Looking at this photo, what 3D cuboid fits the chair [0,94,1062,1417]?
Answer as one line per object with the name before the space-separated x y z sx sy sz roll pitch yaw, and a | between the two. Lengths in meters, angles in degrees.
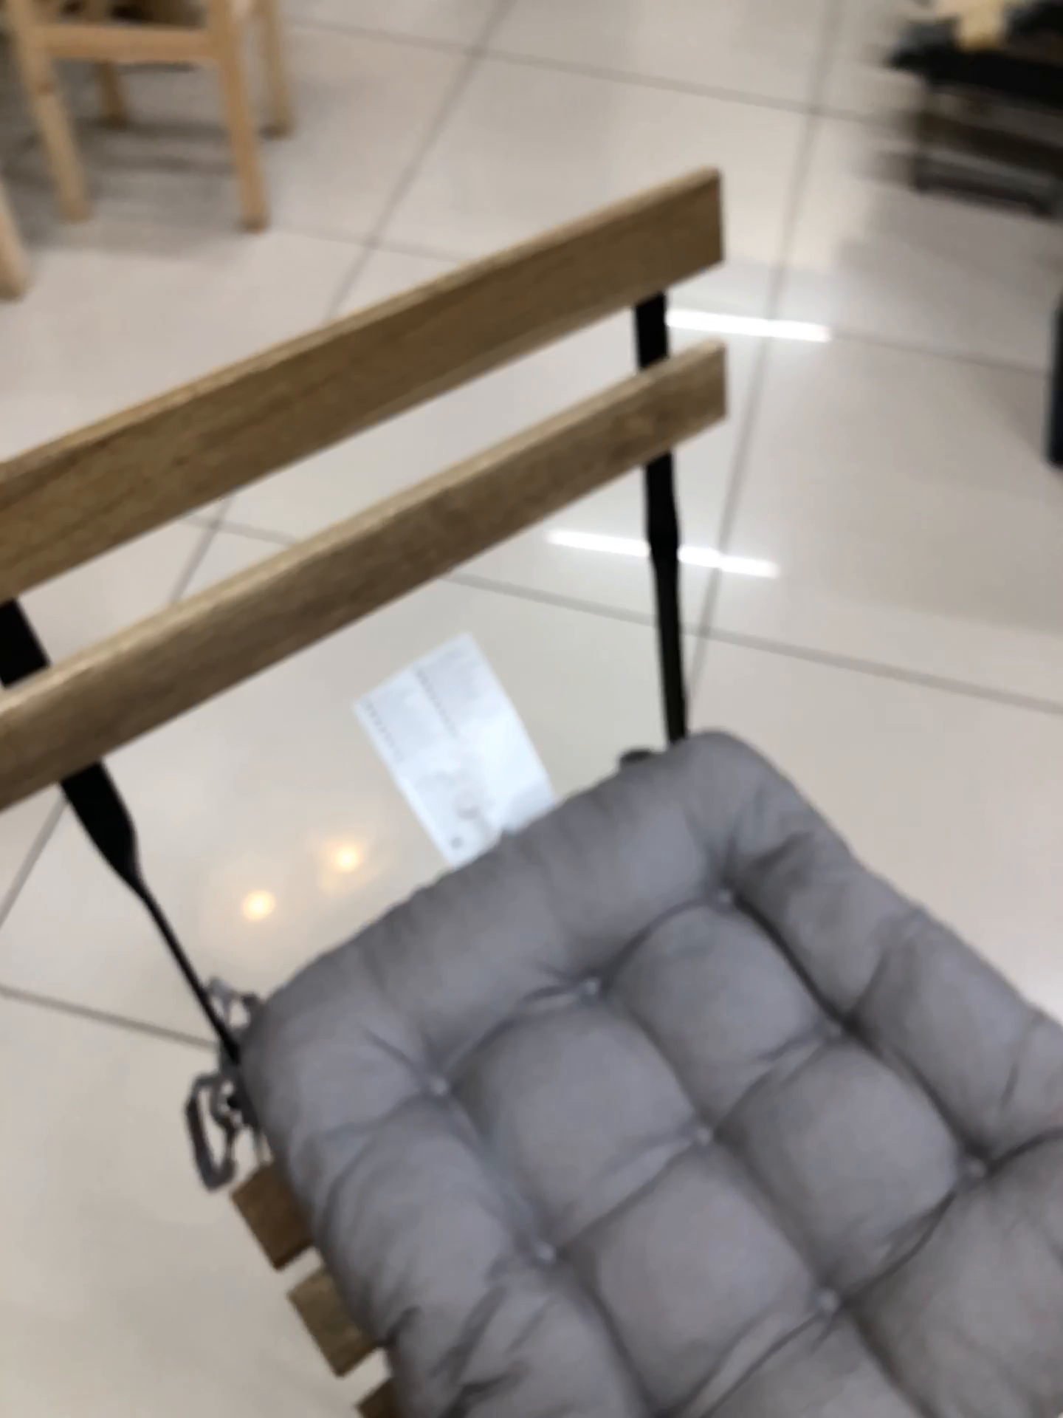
chair | 0.054 0.217 0.630 0.441 0.766 0.441 -33 63 -23
